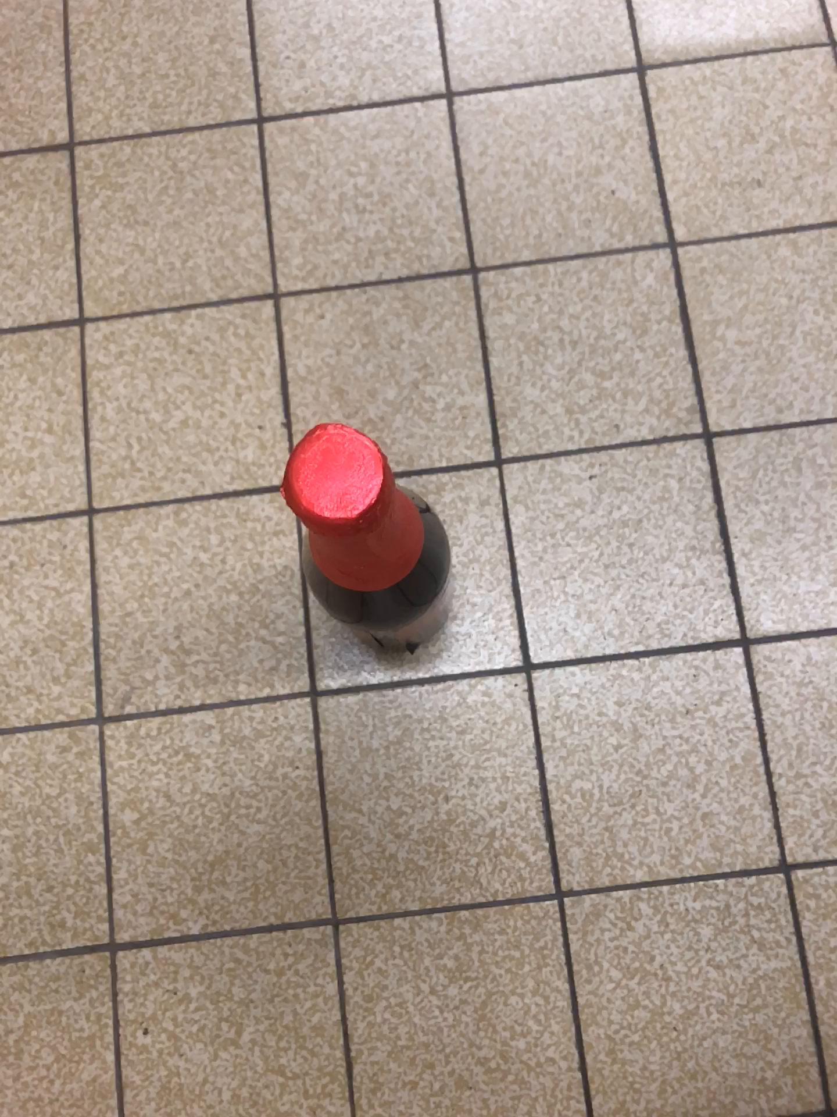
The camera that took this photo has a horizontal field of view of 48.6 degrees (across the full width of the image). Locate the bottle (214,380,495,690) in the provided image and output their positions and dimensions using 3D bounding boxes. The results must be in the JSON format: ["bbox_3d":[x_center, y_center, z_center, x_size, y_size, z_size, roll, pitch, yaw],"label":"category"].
[{"bbox_3d":[-0.012,0.007,0.334,0.060,0.200,0.060,-1,80,3],"label":"bottle"}]
